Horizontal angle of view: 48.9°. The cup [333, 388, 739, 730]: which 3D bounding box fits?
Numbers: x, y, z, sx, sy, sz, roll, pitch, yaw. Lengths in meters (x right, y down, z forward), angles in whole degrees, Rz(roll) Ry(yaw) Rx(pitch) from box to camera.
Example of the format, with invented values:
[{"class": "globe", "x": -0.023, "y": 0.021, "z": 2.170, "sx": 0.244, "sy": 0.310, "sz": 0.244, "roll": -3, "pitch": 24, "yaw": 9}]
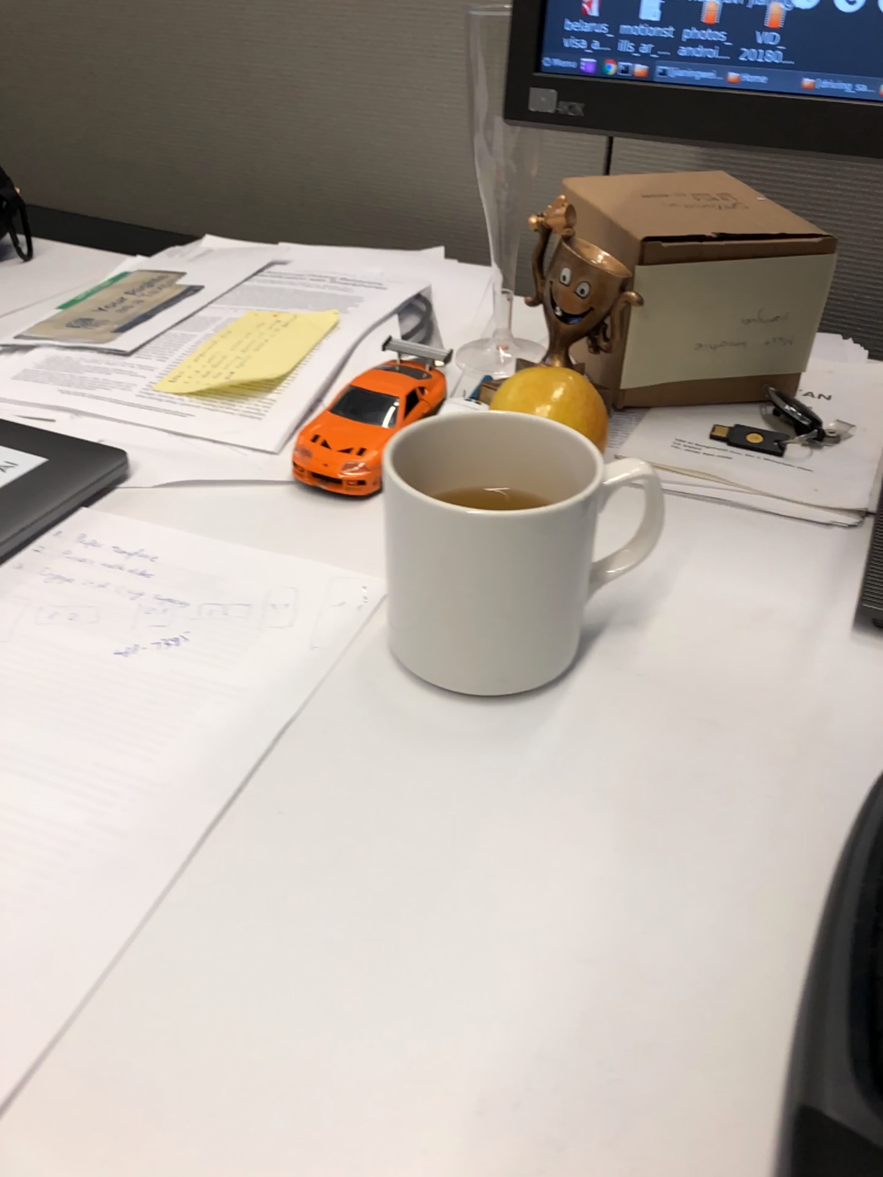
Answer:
[{"class": "cup", "x": 0.029, "y": -0.016, "z": 0.362, "sx": 0.120, "sy": 0.080, "sz": 0.080, "roll": -10, "pitch": 36, "yaw": -15}]
